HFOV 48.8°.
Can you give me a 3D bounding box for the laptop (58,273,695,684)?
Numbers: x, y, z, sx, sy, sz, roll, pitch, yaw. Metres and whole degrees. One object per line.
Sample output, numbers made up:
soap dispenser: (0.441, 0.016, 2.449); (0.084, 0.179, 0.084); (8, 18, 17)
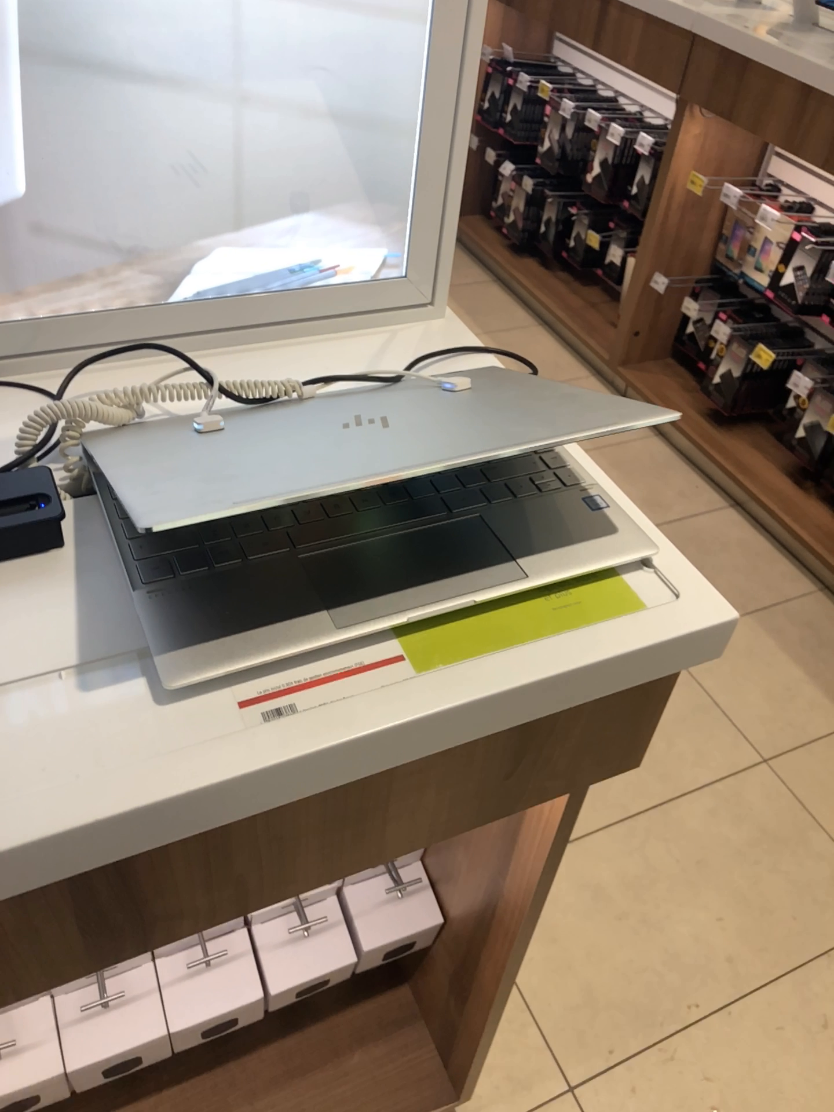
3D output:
laptop: (-0.030, -0.068, 0.543); (0.298, 0.078, 0.211); (-14, 47, -23)
